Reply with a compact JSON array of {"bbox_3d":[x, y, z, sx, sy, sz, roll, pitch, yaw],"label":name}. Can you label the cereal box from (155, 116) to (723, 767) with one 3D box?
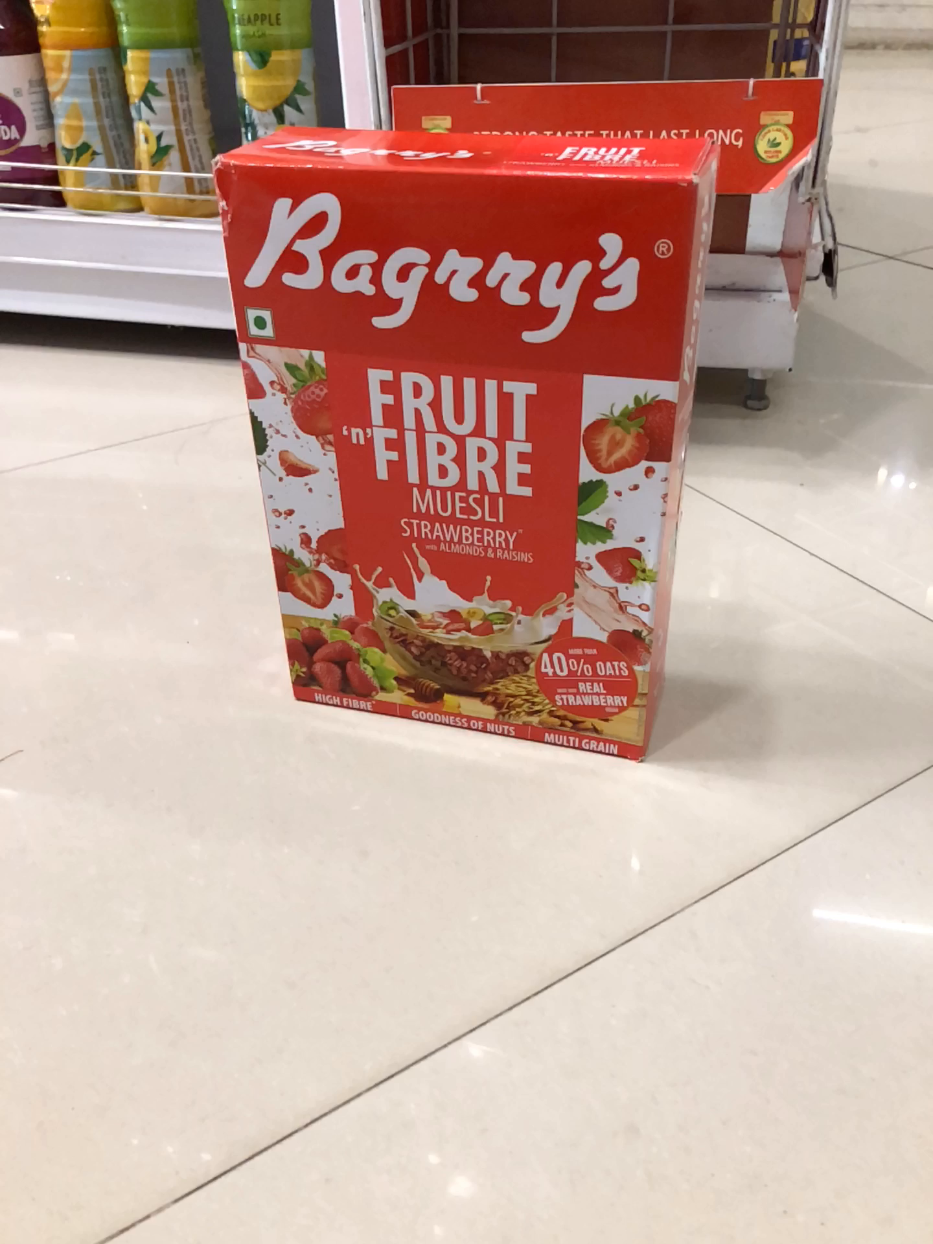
[{"bbox_3d":[-0.007,-0.074,0.456,0.200,0.258,0.071,8,35,14],"label":"cereal box"}]
